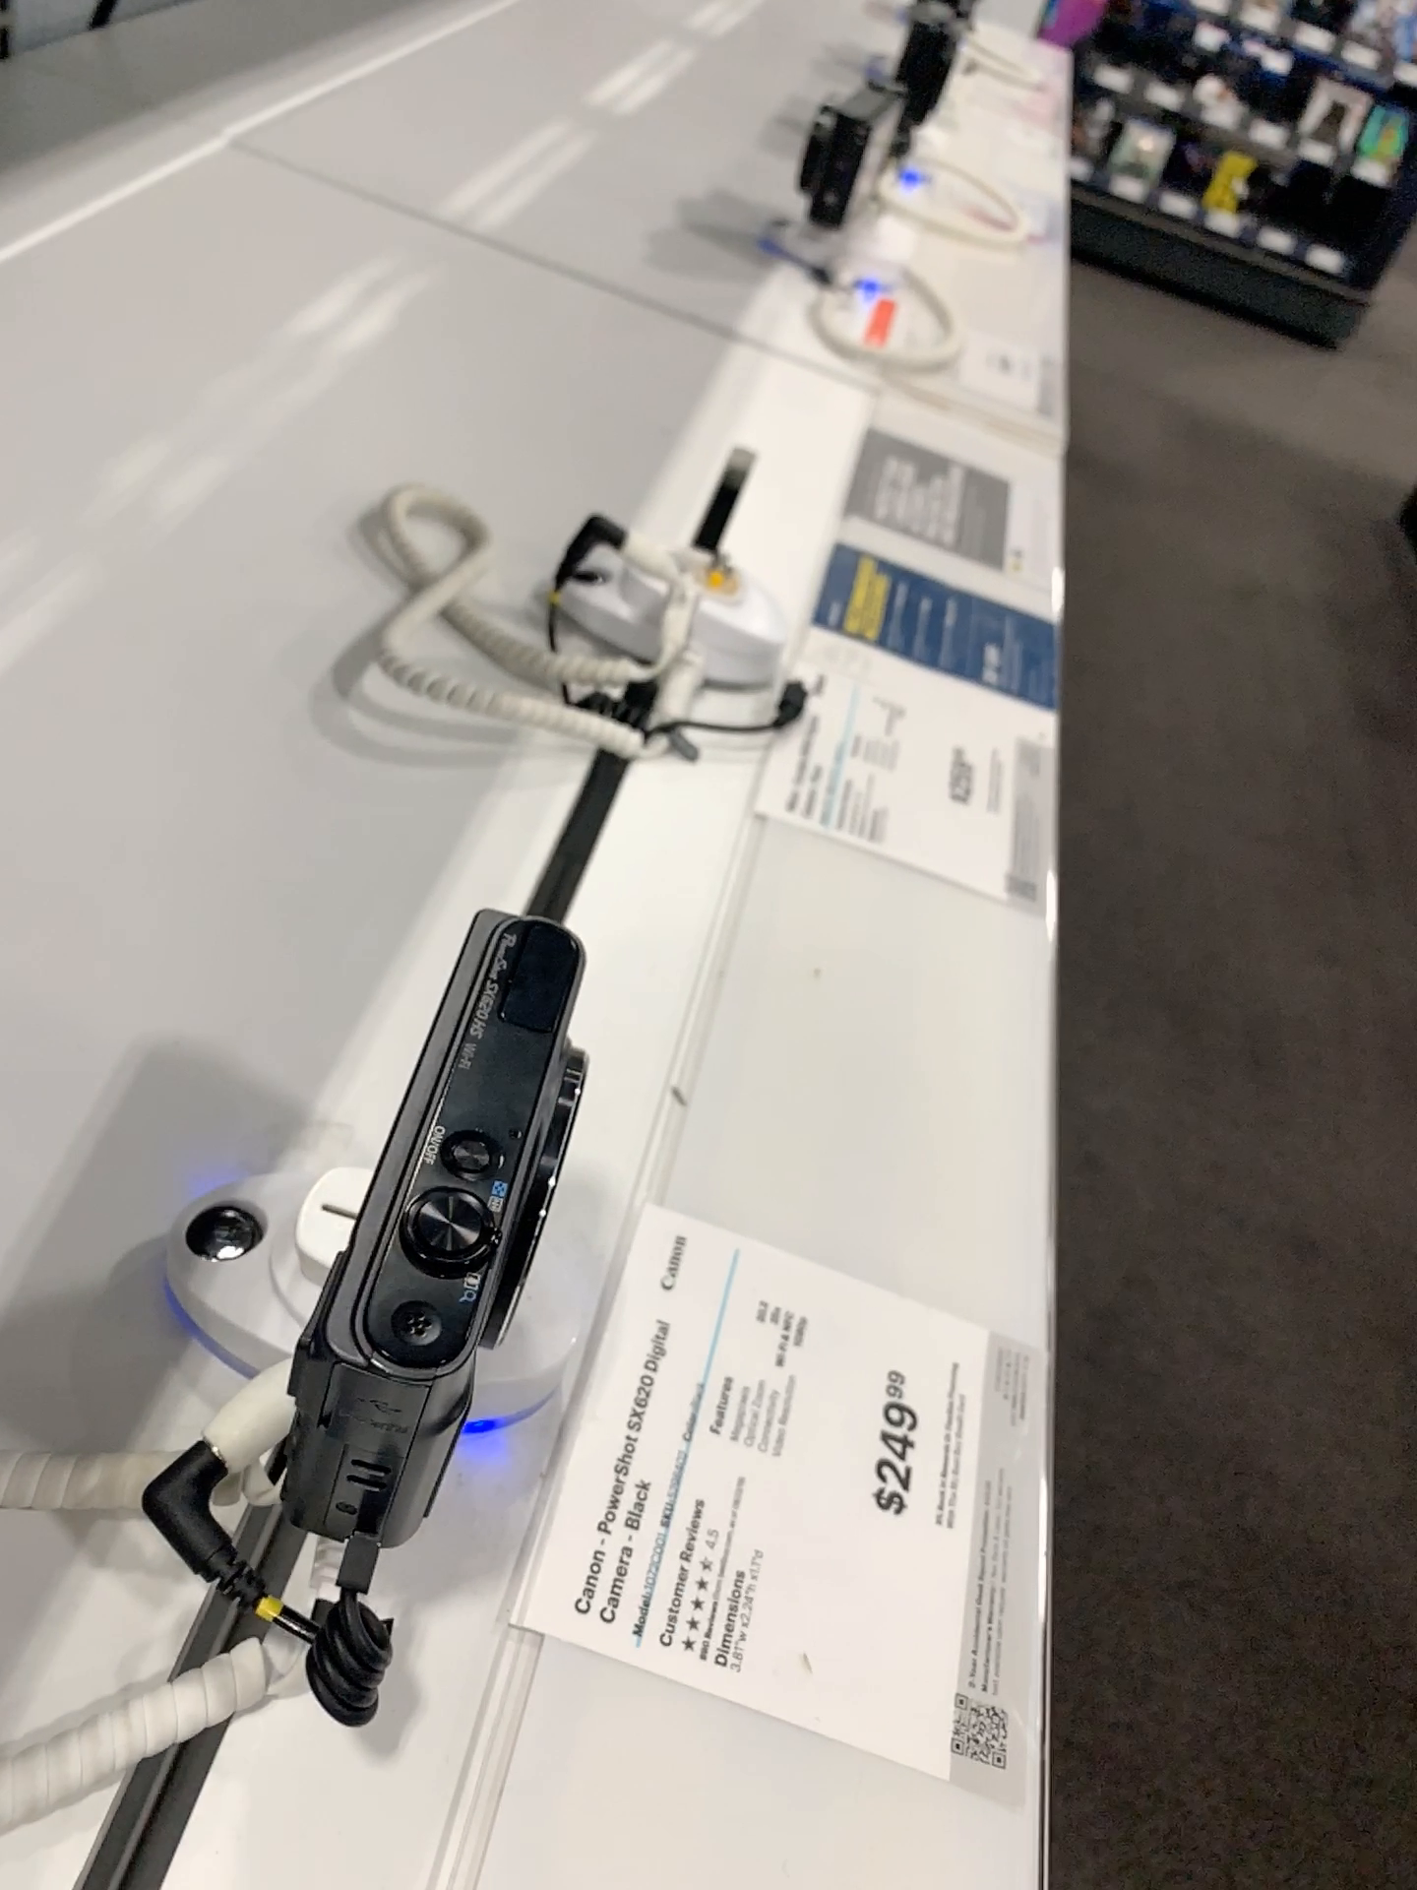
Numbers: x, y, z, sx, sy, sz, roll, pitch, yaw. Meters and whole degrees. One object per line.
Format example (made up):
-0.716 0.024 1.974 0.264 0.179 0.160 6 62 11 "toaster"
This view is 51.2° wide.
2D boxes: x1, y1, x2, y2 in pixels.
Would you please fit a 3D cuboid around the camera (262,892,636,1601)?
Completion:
-0.040 0.045 0.244 0.031 0.050 0.100 16 40 -6 "camera"
